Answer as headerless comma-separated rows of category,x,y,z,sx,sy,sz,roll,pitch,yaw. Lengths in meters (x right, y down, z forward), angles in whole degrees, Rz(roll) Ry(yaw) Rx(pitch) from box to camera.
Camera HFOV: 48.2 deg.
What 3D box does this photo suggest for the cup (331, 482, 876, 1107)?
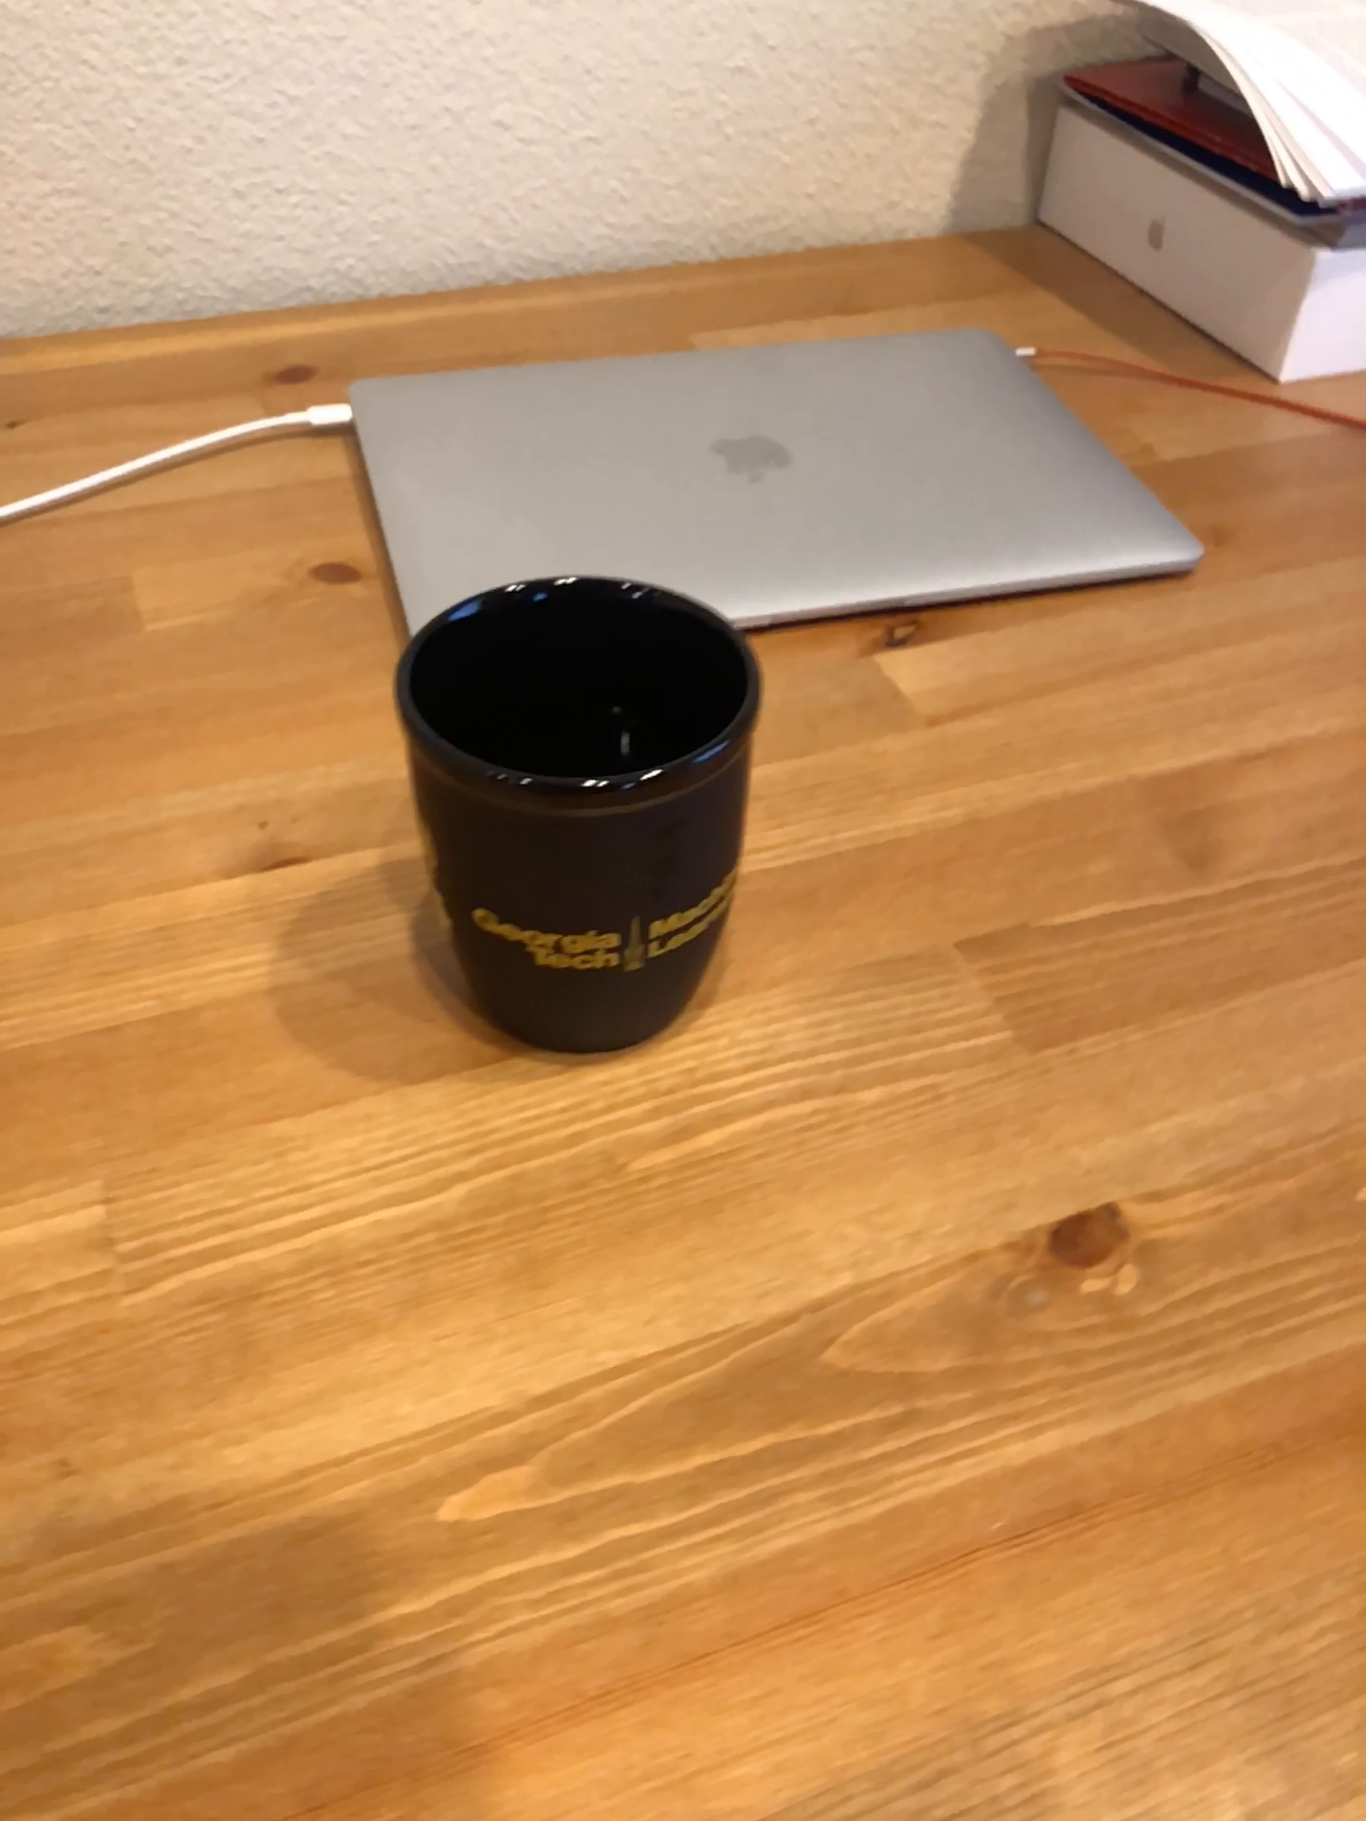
cup,-0.014,-0.035,0.393,0.090,0.090,0.120,15,44,14
